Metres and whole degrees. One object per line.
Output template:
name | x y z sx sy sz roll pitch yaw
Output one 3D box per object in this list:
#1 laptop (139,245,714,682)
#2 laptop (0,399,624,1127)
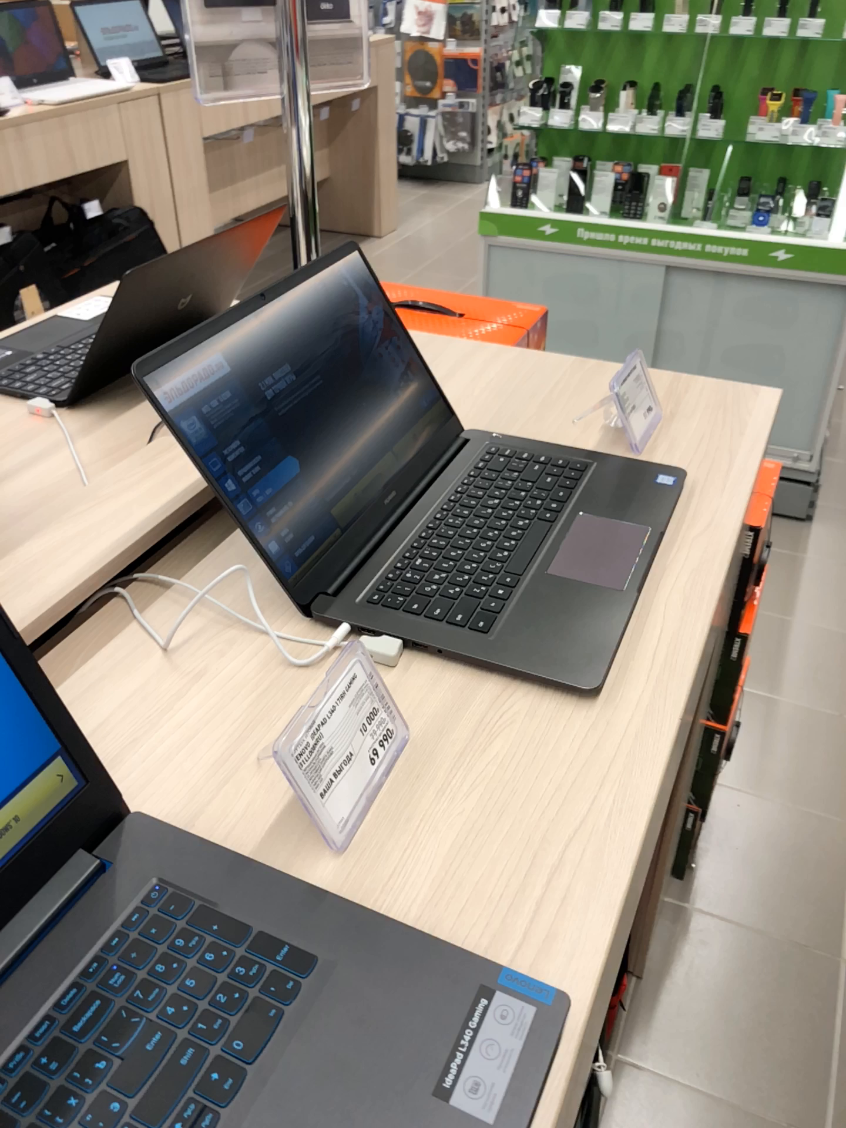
laptop | 0.027 -0.119 0.801 0.357 0.180 0.346 13 36 18
laptop | -0.181 0.164 0.309 0.378 0.242 0.393 14 36 21
